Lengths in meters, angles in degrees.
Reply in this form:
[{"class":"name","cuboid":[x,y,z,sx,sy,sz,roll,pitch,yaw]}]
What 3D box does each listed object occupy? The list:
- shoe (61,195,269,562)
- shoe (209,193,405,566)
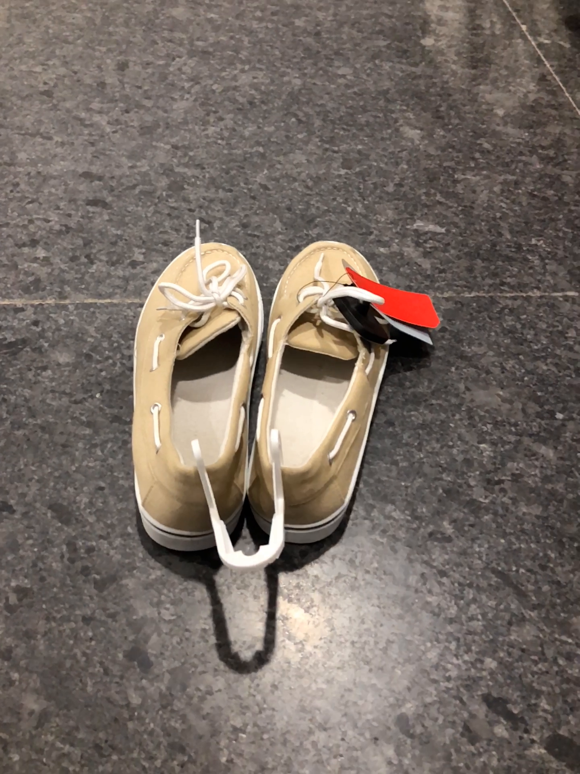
[{"class":"shoe","cuboid":[-0.068,-0.016,0.442,0.103,0.105,0.243,1,50,-2]},{"class":"shoe","cuboid":[0.021,-0.017,0.451,0.096,0.105,0.243,8,50,4]}]
